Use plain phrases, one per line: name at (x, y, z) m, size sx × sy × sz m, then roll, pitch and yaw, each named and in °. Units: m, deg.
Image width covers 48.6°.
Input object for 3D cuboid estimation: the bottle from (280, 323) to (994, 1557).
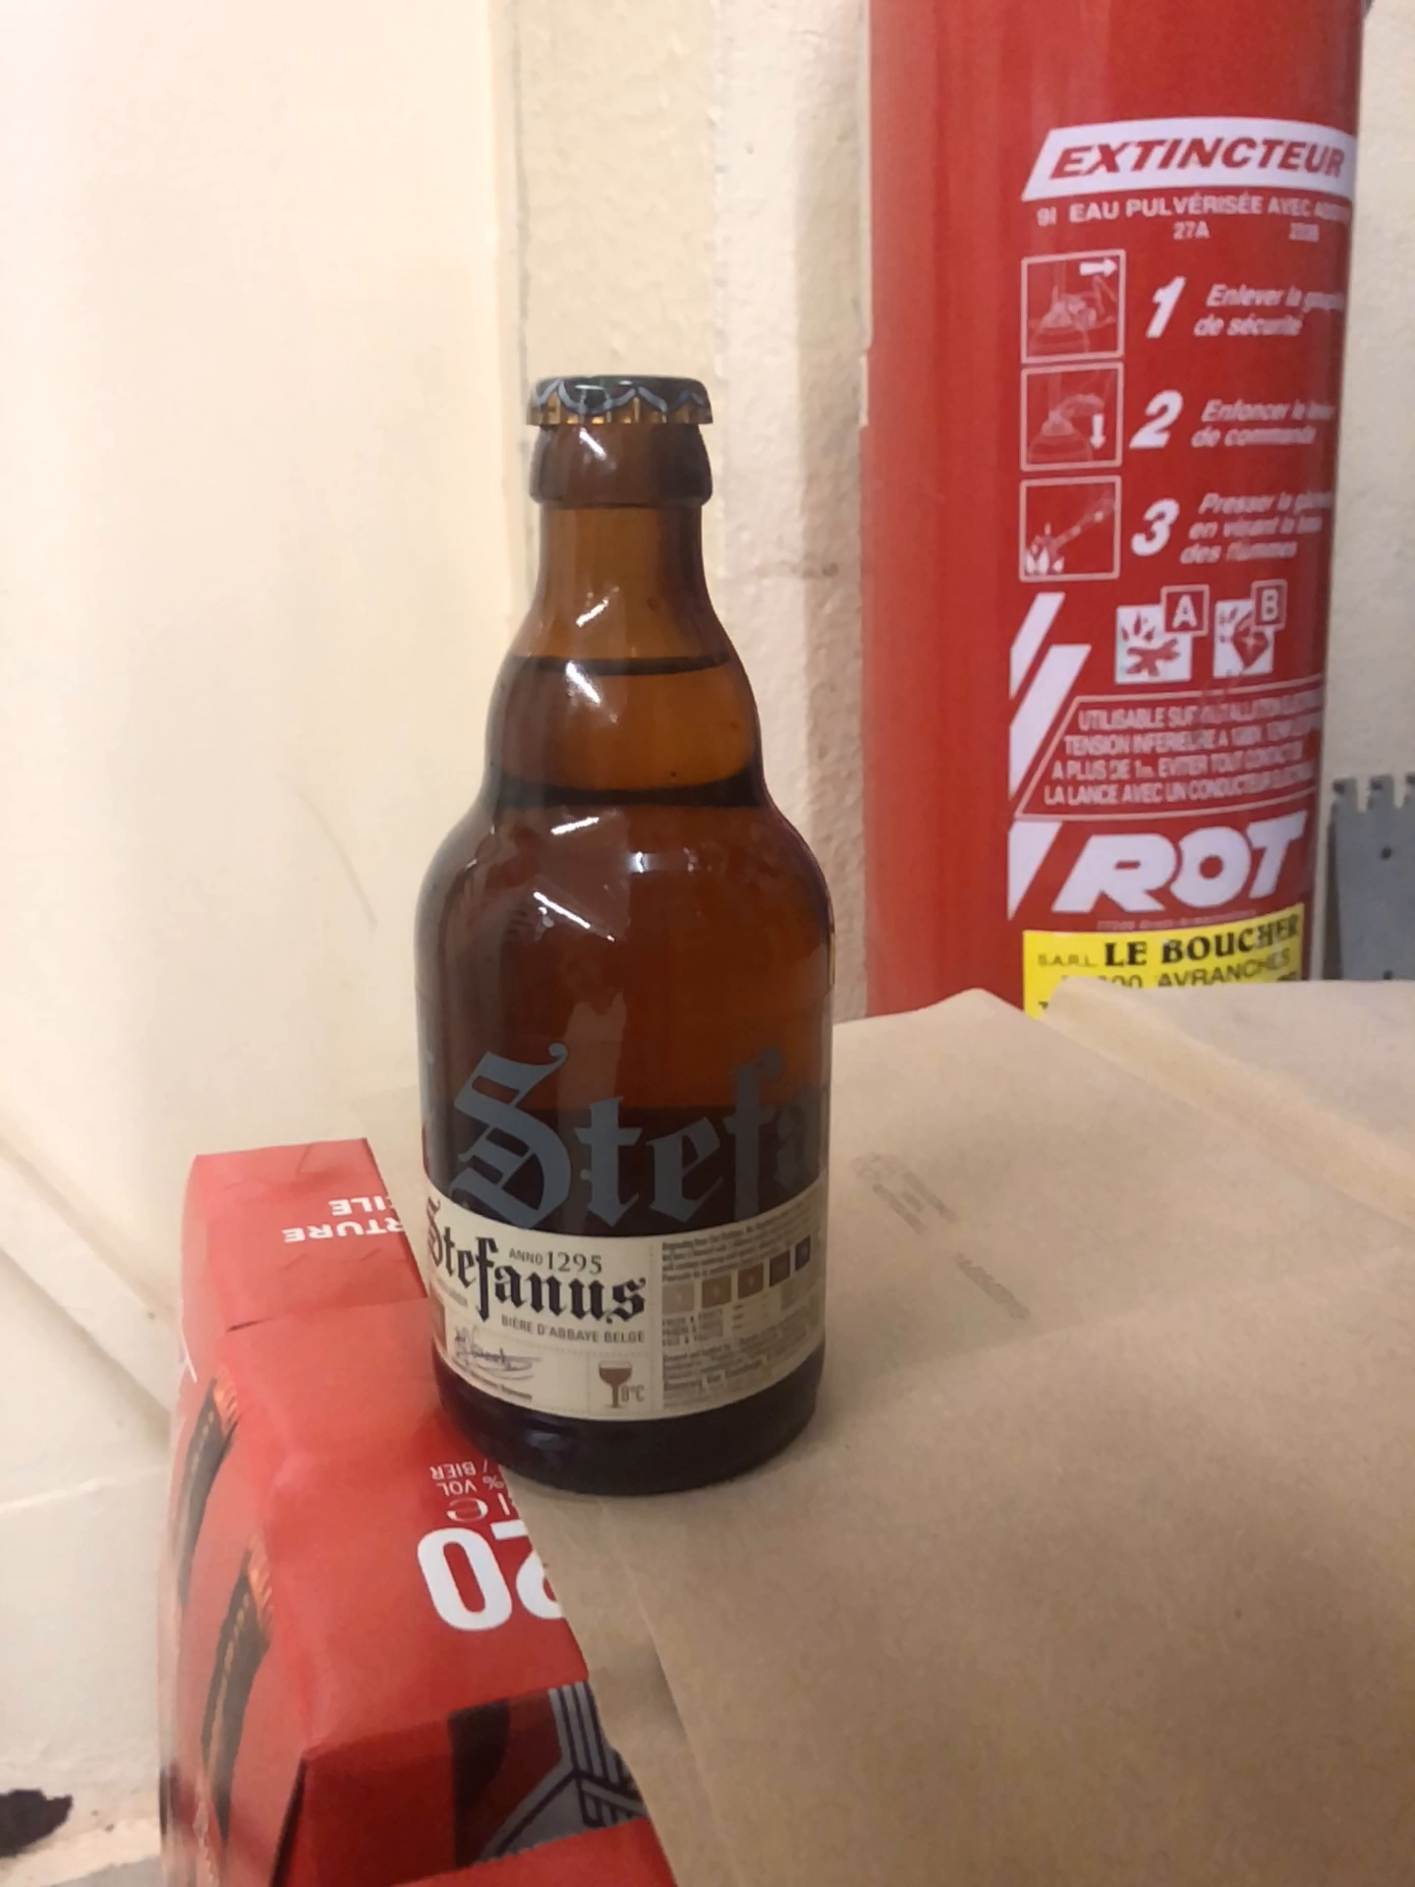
bottle at (-0.012, -0.006, 0.265) m, size 0.080 × 0.169 × 0.080 m, roll 0°, pitch 13°, yaw 0°
